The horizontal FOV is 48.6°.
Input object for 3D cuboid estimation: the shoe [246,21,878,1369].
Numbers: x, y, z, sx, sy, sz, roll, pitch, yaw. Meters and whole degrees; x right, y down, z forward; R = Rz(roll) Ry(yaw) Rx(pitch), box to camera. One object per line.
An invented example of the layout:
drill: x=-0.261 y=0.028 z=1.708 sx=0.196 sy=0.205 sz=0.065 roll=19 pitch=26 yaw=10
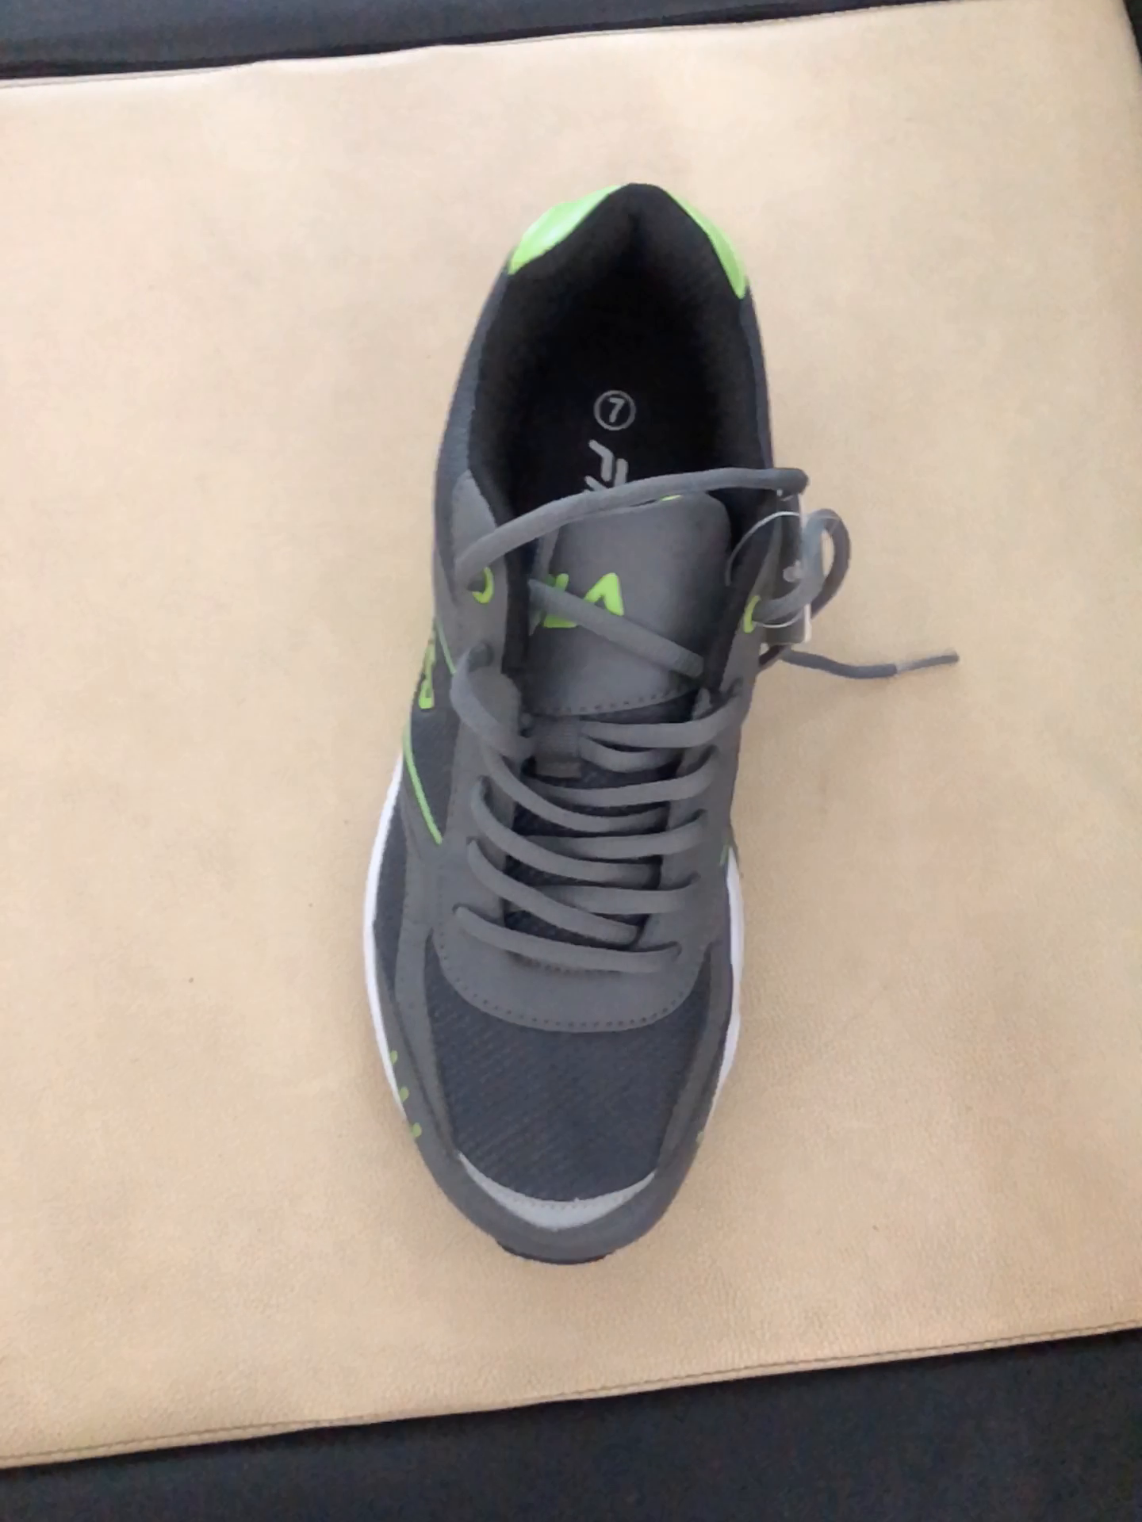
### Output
shoe: x=0.001 y=-0.023 z=0.342 sx=0.130 sy=0.100 sz=0.320 roll=1 pitch=78 yaw=1
